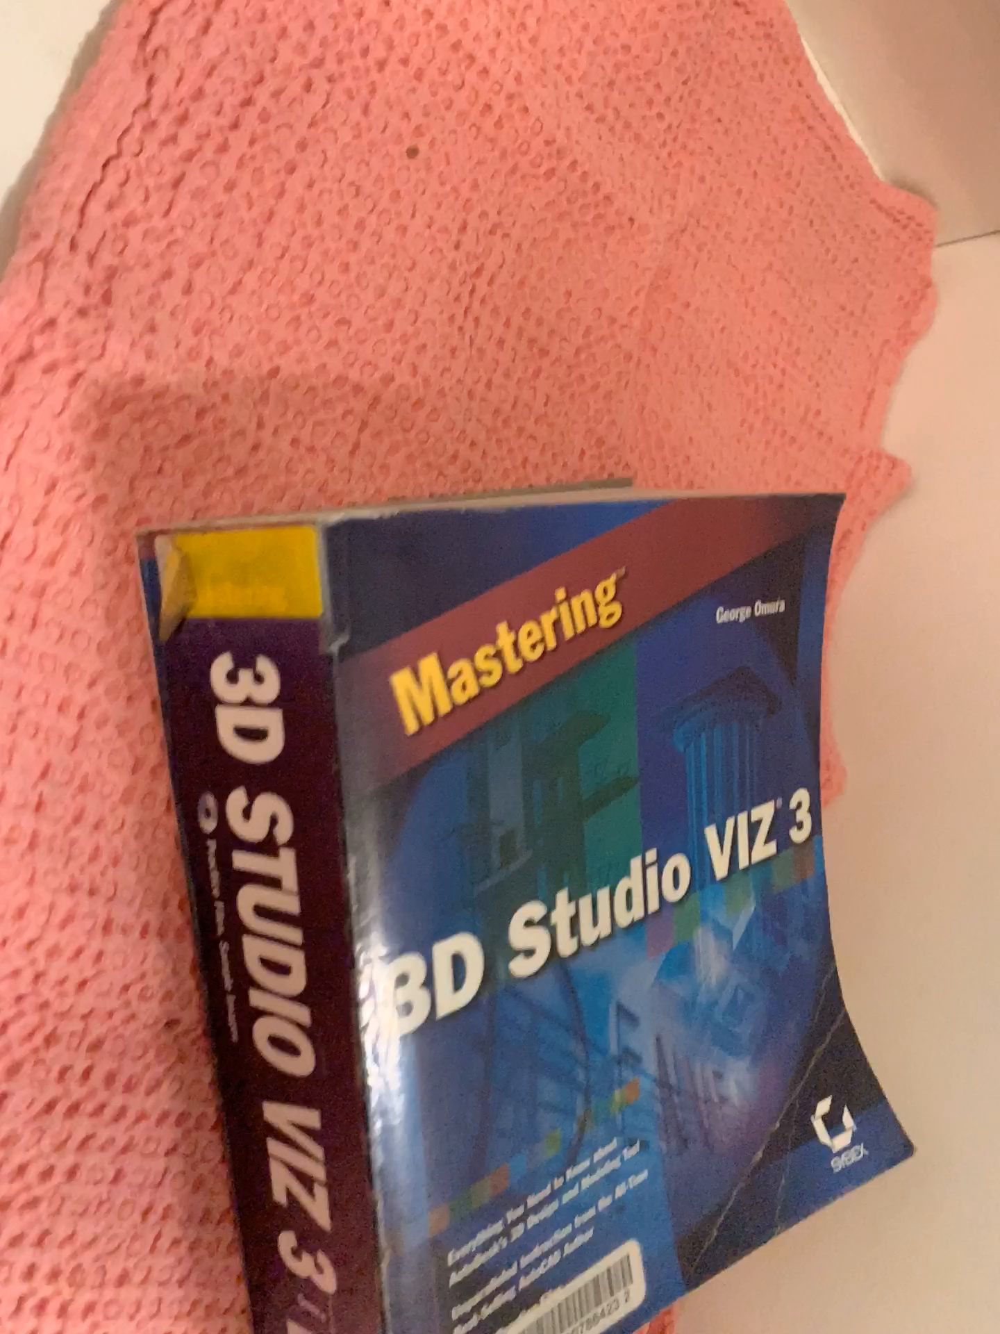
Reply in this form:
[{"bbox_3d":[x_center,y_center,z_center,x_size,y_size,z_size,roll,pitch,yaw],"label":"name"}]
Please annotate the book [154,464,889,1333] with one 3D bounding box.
[{"bbox_3d":[0.027,0.062,0.303,0.208,0.077,0.231,-12,101,-43],"label":"book"}]
